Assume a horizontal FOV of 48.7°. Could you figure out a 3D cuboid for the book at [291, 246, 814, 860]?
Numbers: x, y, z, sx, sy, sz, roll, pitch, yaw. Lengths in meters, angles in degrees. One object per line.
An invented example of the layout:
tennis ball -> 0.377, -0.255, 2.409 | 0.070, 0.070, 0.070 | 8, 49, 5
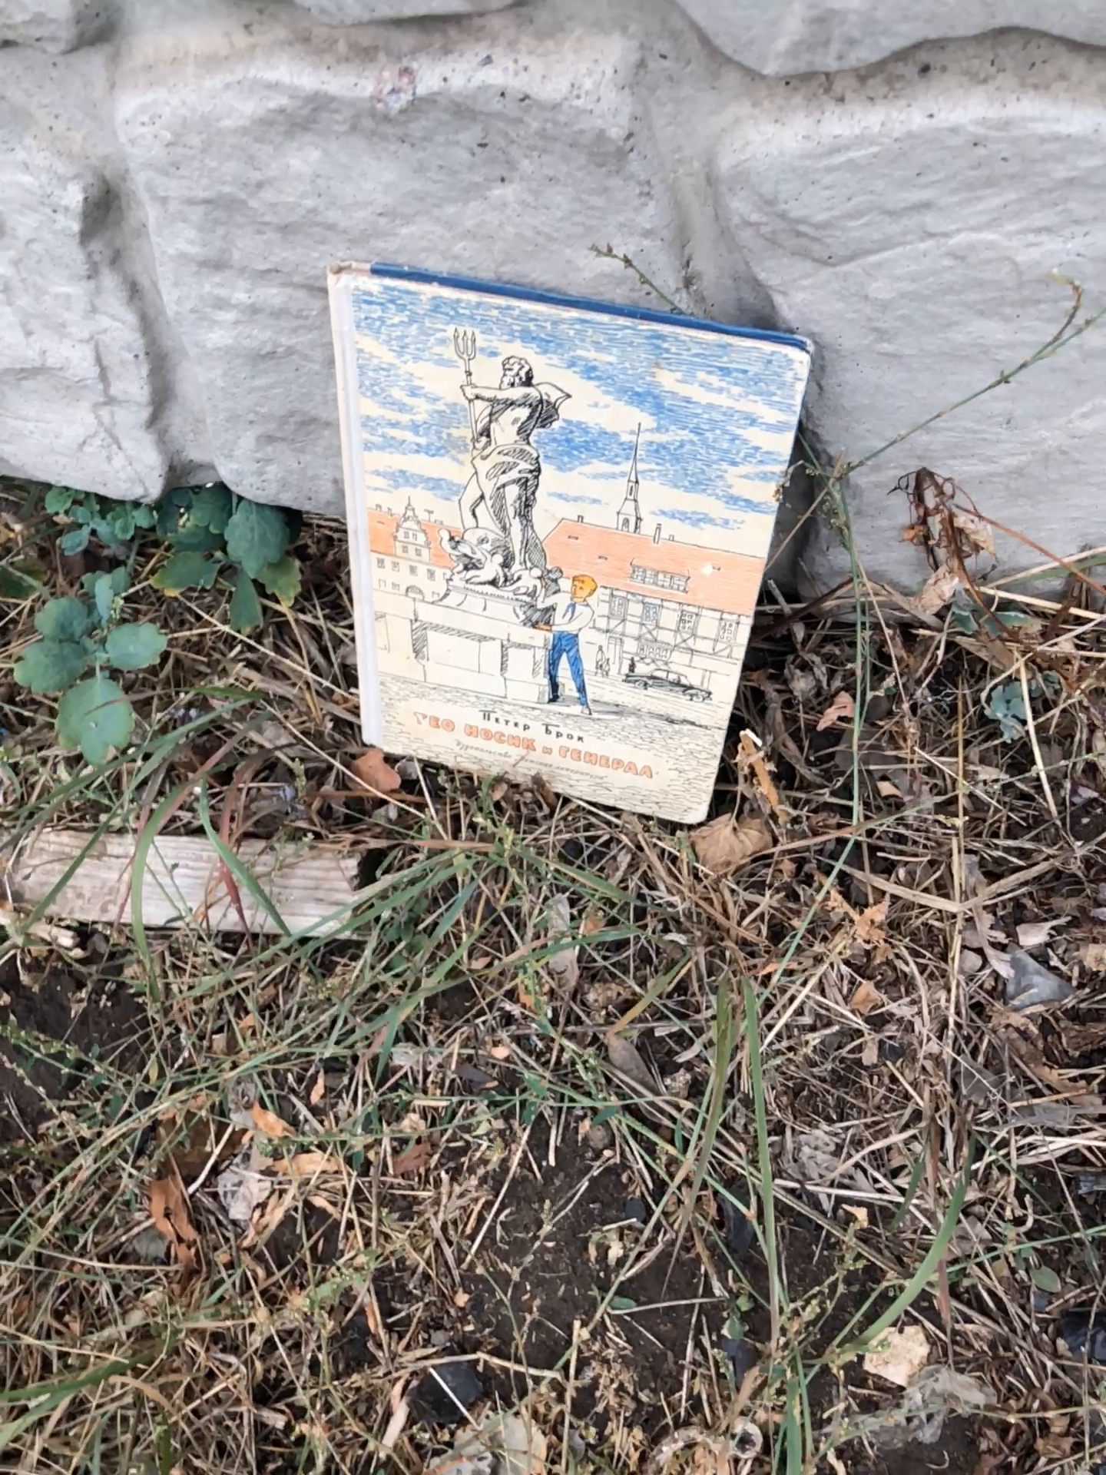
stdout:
book -> -0.003, -0.052, 0.414 | 0.151, 0.200, 0.020 | 16, 47, 16
